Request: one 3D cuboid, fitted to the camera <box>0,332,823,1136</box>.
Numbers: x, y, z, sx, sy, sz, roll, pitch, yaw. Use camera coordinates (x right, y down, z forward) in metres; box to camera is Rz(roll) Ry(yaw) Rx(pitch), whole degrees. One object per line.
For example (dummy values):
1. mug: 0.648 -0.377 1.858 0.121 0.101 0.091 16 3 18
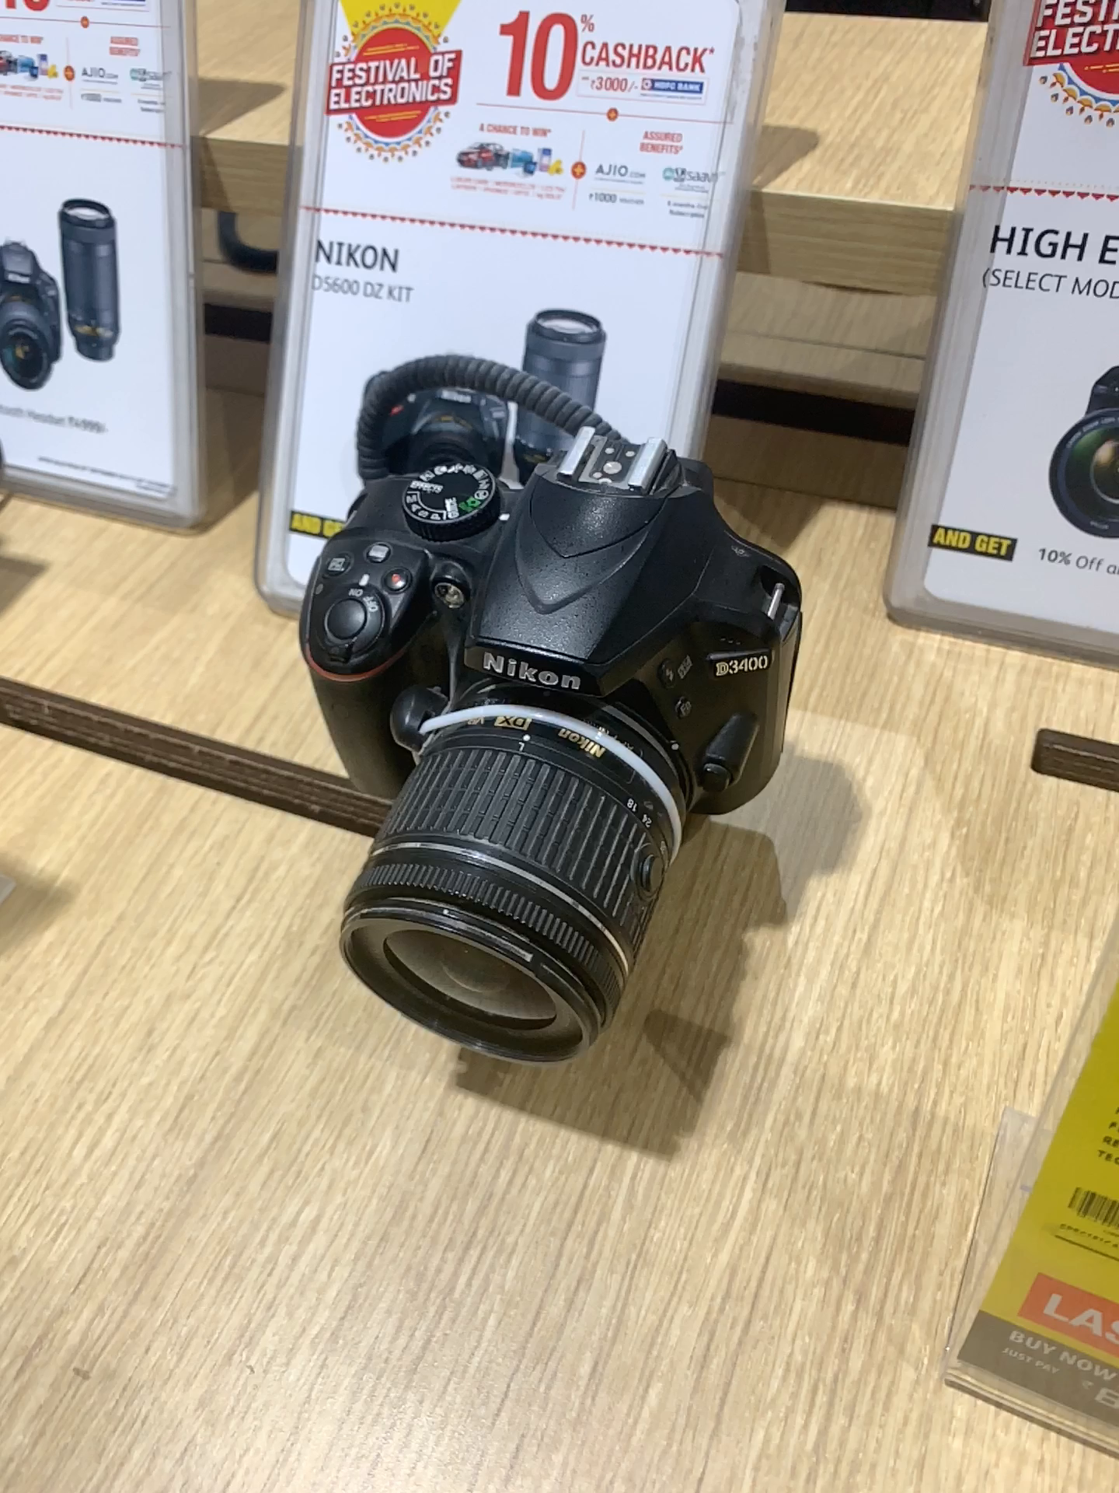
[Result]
1. camera: -0.018 -0.008 0.256 0.120 0.100 0.120 12 52 17
